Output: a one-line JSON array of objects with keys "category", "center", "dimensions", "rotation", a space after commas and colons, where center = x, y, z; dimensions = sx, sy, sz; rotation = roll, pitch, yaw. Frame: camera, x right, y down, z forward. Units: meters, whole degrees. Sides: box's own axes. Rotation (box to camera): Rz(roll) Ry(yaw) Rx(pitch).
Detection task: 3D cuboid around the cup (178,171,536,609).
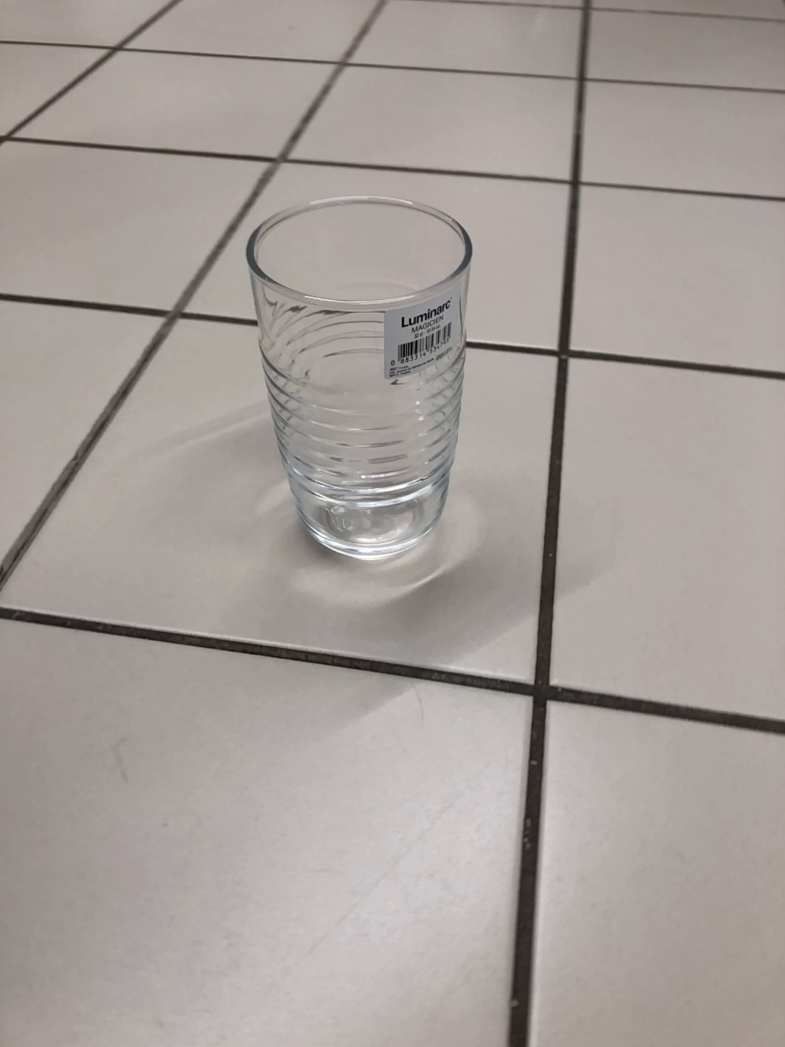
[{"category": "cup", "center": [-0.009, -0.046, 0.297], "dimensions": [0.076, 0.104, 0.079], "rotation": [0, 45, 0]}]
